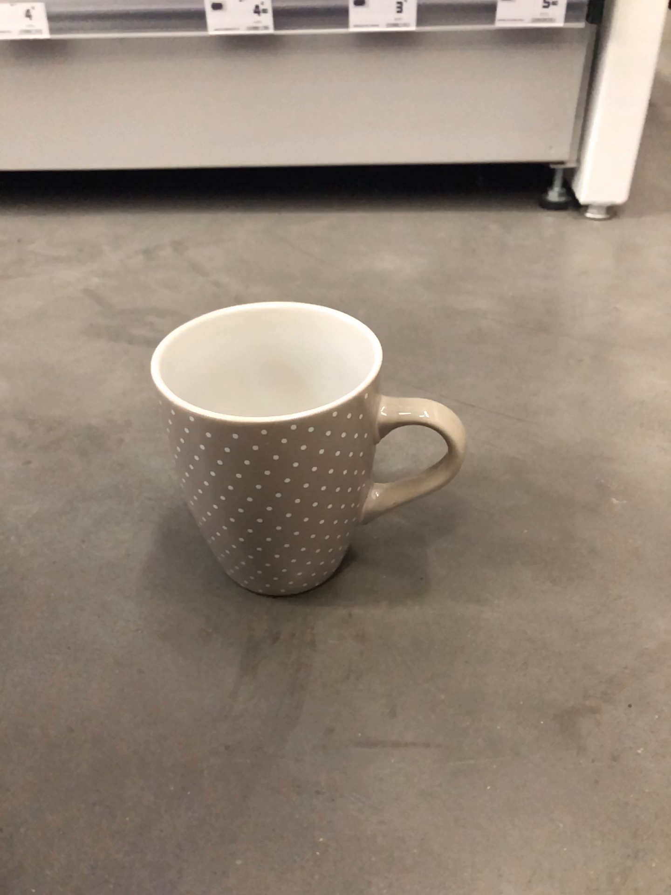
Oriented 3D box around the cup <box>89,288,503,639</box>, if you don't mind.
[{"bbox_3d":[-0.008,0.004,0.317,0.141,0.106,0.092,4,37,7],"label":"cup"}]
